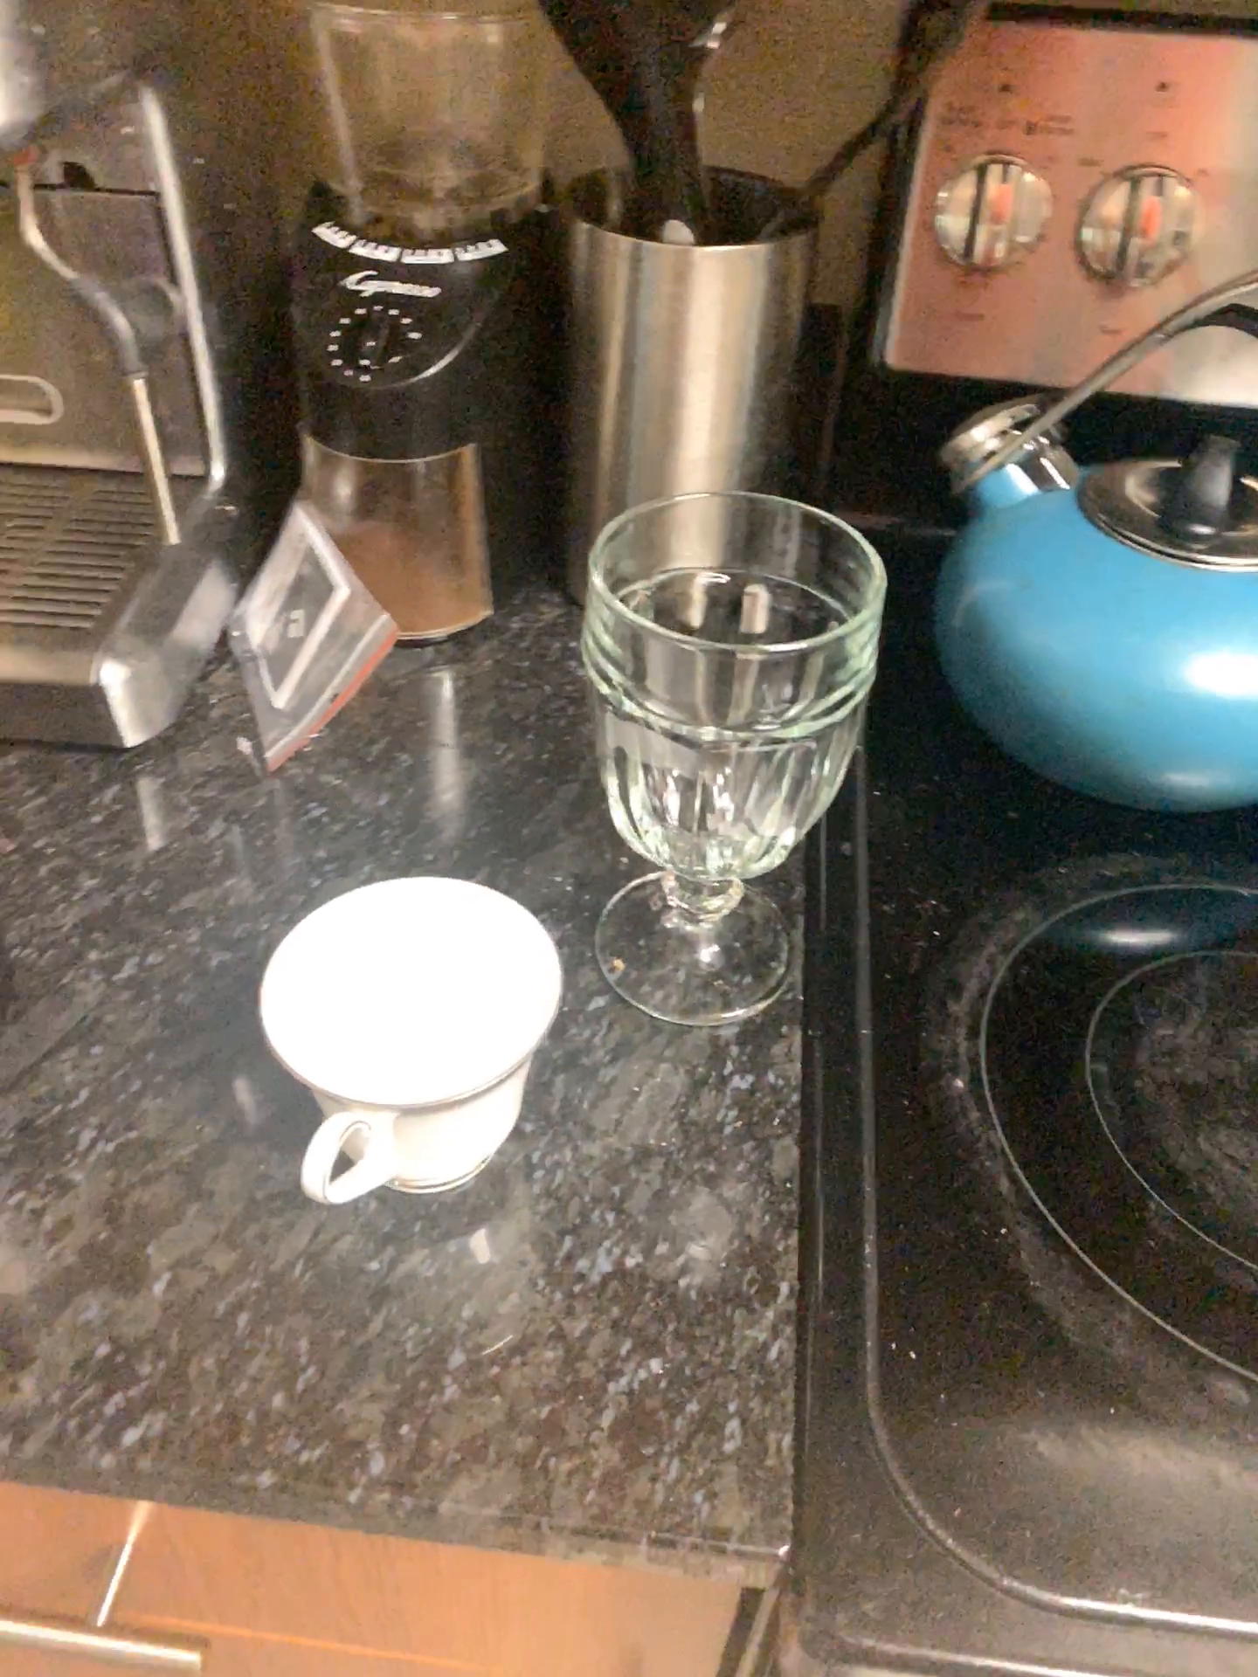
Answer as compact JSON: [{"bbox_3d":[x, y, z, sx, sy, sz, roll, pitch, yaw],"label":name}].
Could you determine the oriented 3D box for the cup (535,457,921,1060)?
[{"bbox_3d":[0.033,-0.027,0.468,0.100,0.169,0.111,13,43,11],"label":"cup"}]

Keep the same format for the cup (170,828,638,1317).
[{"bbox_3d":[-0.063,0.068,0.405,0.100,0.070,0.111,13,43,11],"label":"cup"}]
